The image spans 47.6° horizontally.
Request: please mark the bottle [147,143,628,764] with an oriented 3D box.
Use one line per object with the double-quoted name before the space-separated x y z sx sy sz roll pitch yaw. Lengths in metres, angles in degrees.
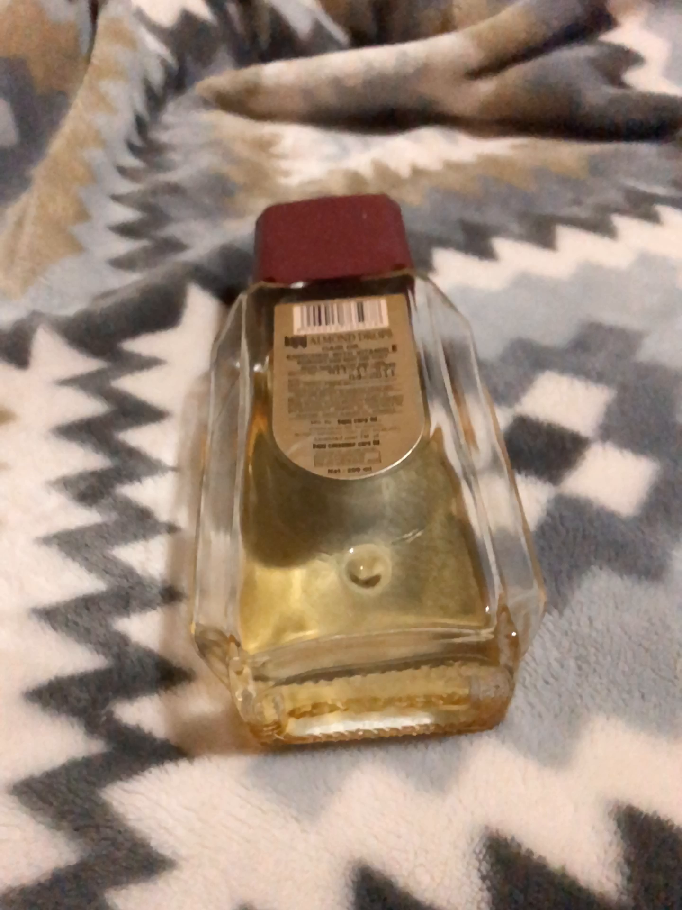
"bottle" 0.002 -0.022 0.210 0.080 0.040 0.190 -6 44 0
